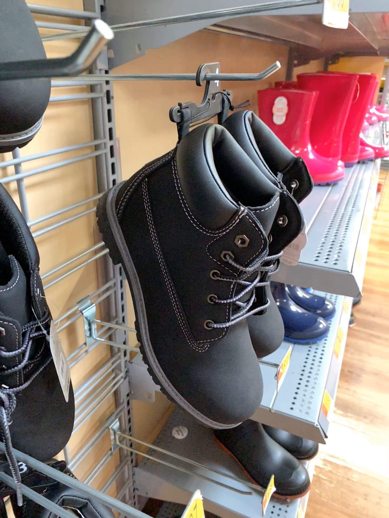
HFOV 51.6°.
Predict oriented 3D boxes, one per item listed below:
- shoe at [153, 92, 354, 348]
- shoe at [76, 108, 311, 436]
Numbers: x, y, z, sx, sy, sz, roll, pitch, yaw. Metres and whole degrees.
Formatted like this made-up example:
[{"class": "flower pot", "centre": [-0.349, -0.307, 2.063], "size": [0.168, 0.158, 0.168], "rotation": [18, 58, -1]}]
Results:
[{"class": "shoe", "centre": [0.066, -0.034, 0.388], "size": [0.120, 0.205, 0.100], "rotation": [-6, 19, 33]}, {"class": "shoe", "centre": [0.011, 0.009, 0.336], "size": [0.109, 0.229, 0.100], "rotation": [-5, 18, 32]}]
